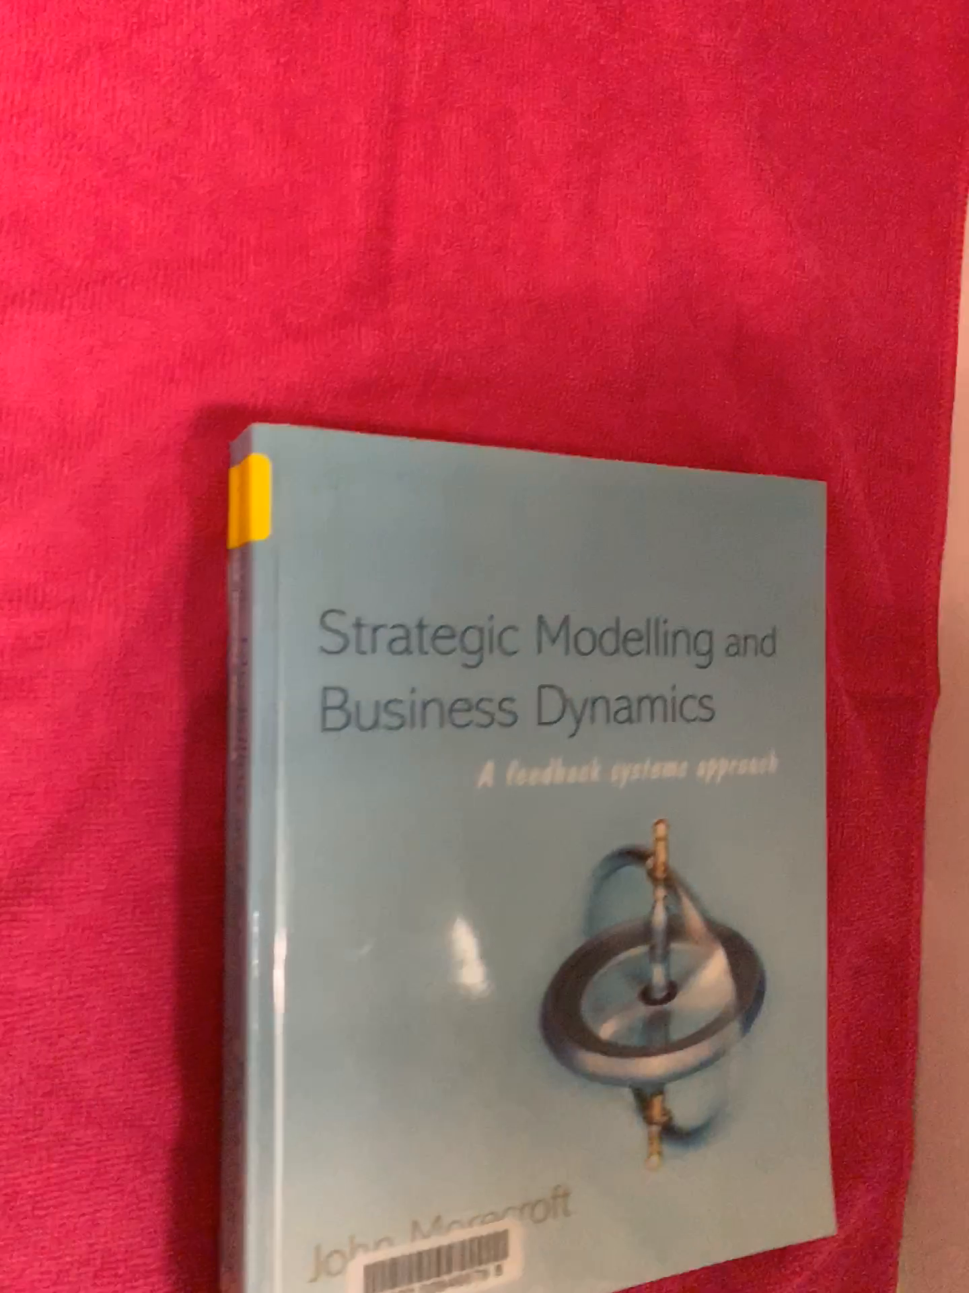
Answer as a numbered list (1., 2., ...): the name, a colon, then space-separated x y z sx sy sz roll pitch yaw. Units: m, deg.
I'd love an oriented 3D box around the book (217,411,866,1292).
1. book: 0.026 0.070 0.297 0.194 0.033 0.250 3 88 -24
